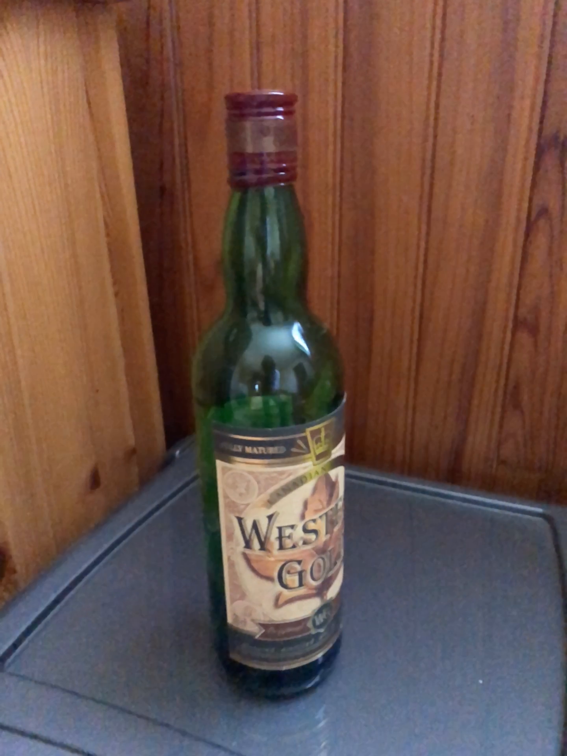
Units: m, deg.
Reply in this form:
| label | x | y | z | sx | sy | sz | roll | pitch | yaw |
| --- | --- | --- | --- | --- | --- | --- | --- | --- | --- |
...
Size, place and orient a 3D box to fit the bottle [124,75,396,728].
| label | x | y | z | sx | sy | sz | roll | pitch | yaw |
| --- | --- | --- | --- | --- | --- | --- | --- | --- | --- |
| bottle | -0.009 | 0.017 | 0.313 | 0.080 | 0.298 | 0.080 | -1 | 22 | 0 |
